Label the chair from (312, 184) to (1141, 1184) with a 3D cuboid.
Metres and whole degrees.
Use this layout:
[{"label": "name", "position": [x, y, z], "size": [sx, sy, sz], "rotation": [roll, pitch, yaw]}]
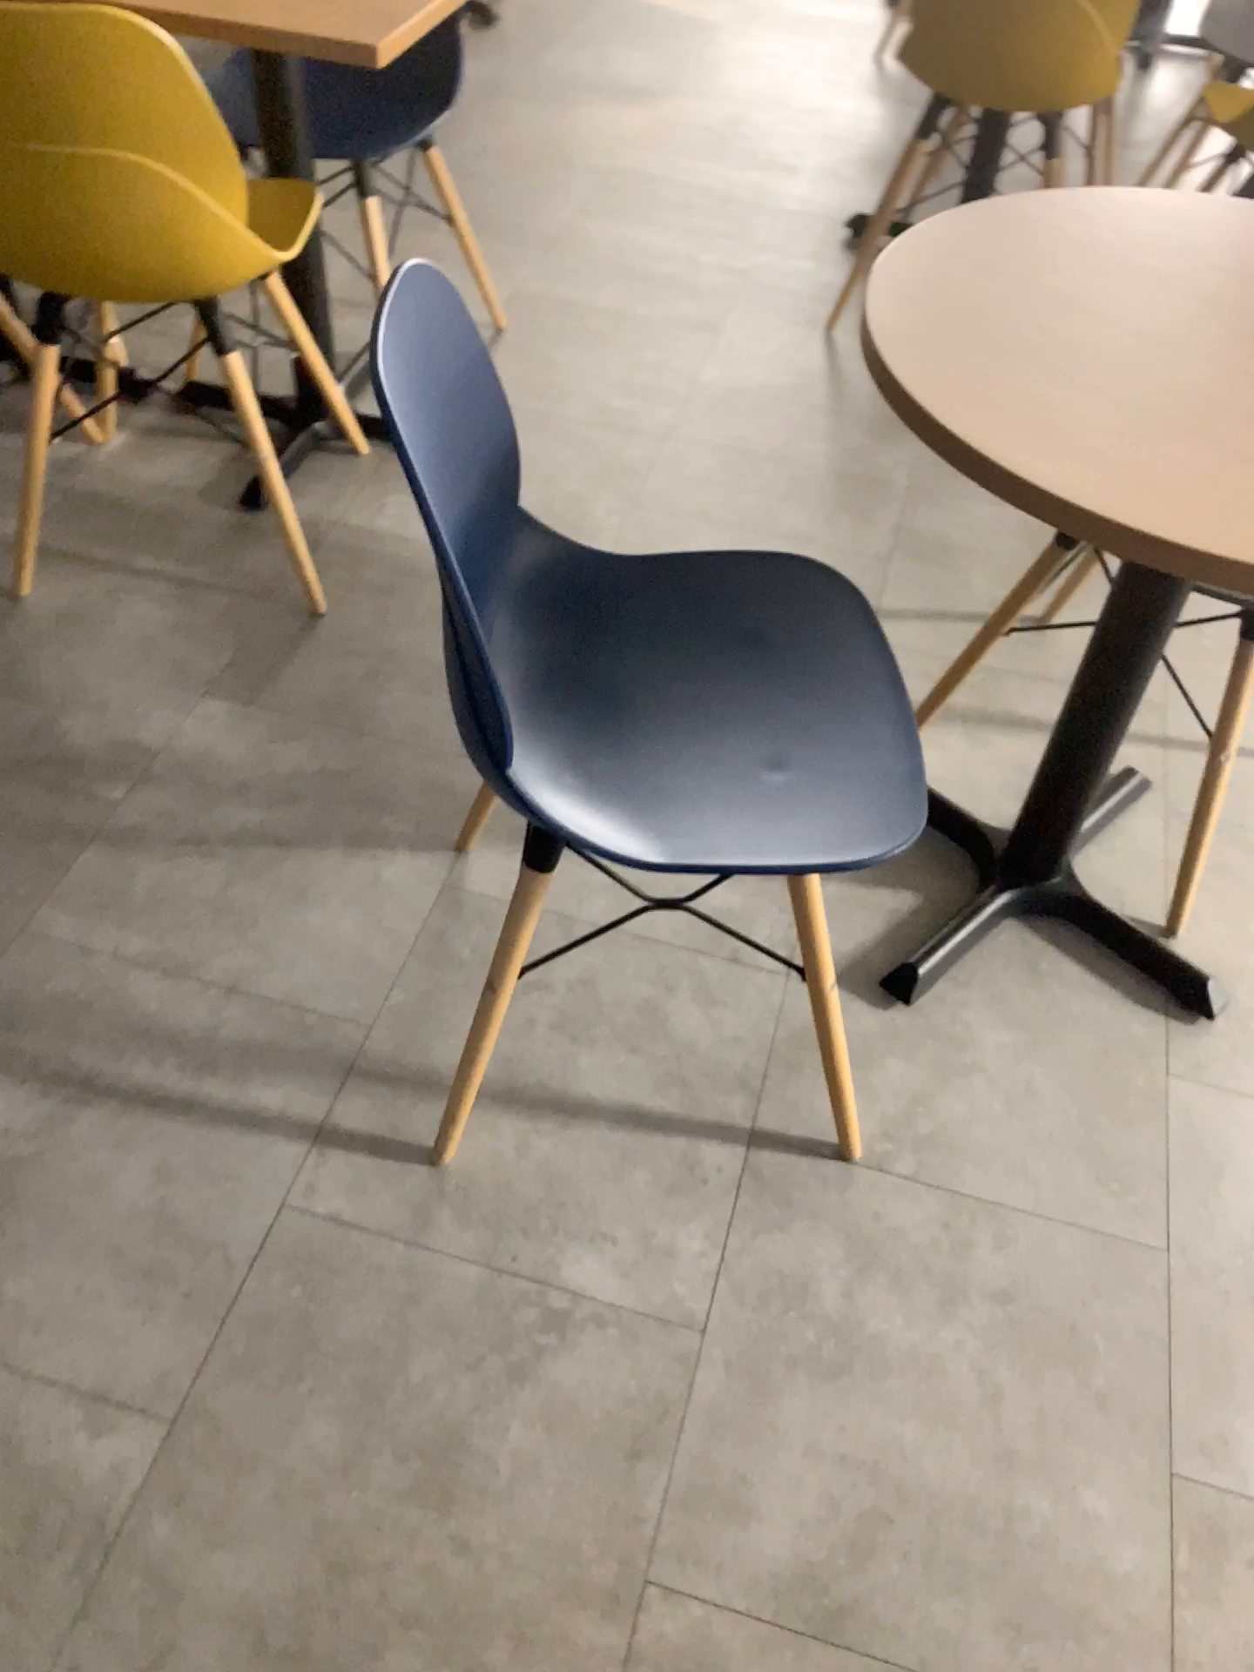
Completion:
[{"label": "chair", "position": [0.034, -0.090, 1.227], "size": [0.497, 0.809, 0.494], "rotation": [1, 47, -3]}]
